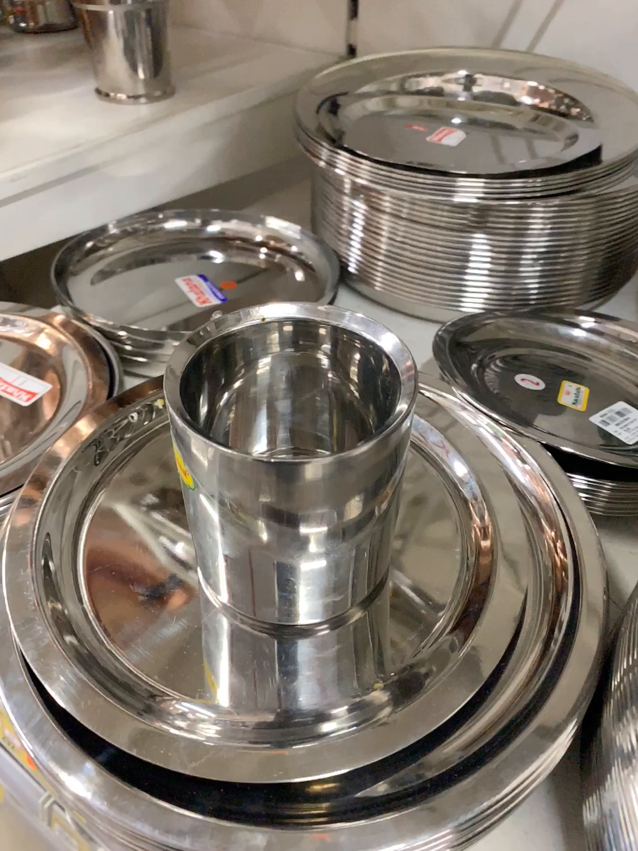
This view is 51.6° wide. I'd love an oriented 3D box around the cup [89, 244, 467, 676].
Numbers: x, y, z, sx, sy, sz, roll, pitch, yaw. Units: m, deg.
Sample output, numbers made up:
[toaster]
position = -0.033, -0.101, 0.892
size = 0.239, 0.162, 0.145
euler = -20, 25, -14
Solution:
[cup]
position = -0.020, 0.006, 0.244
size = 0.080, 0.090, 0.110
euler = -21, 46, -23
